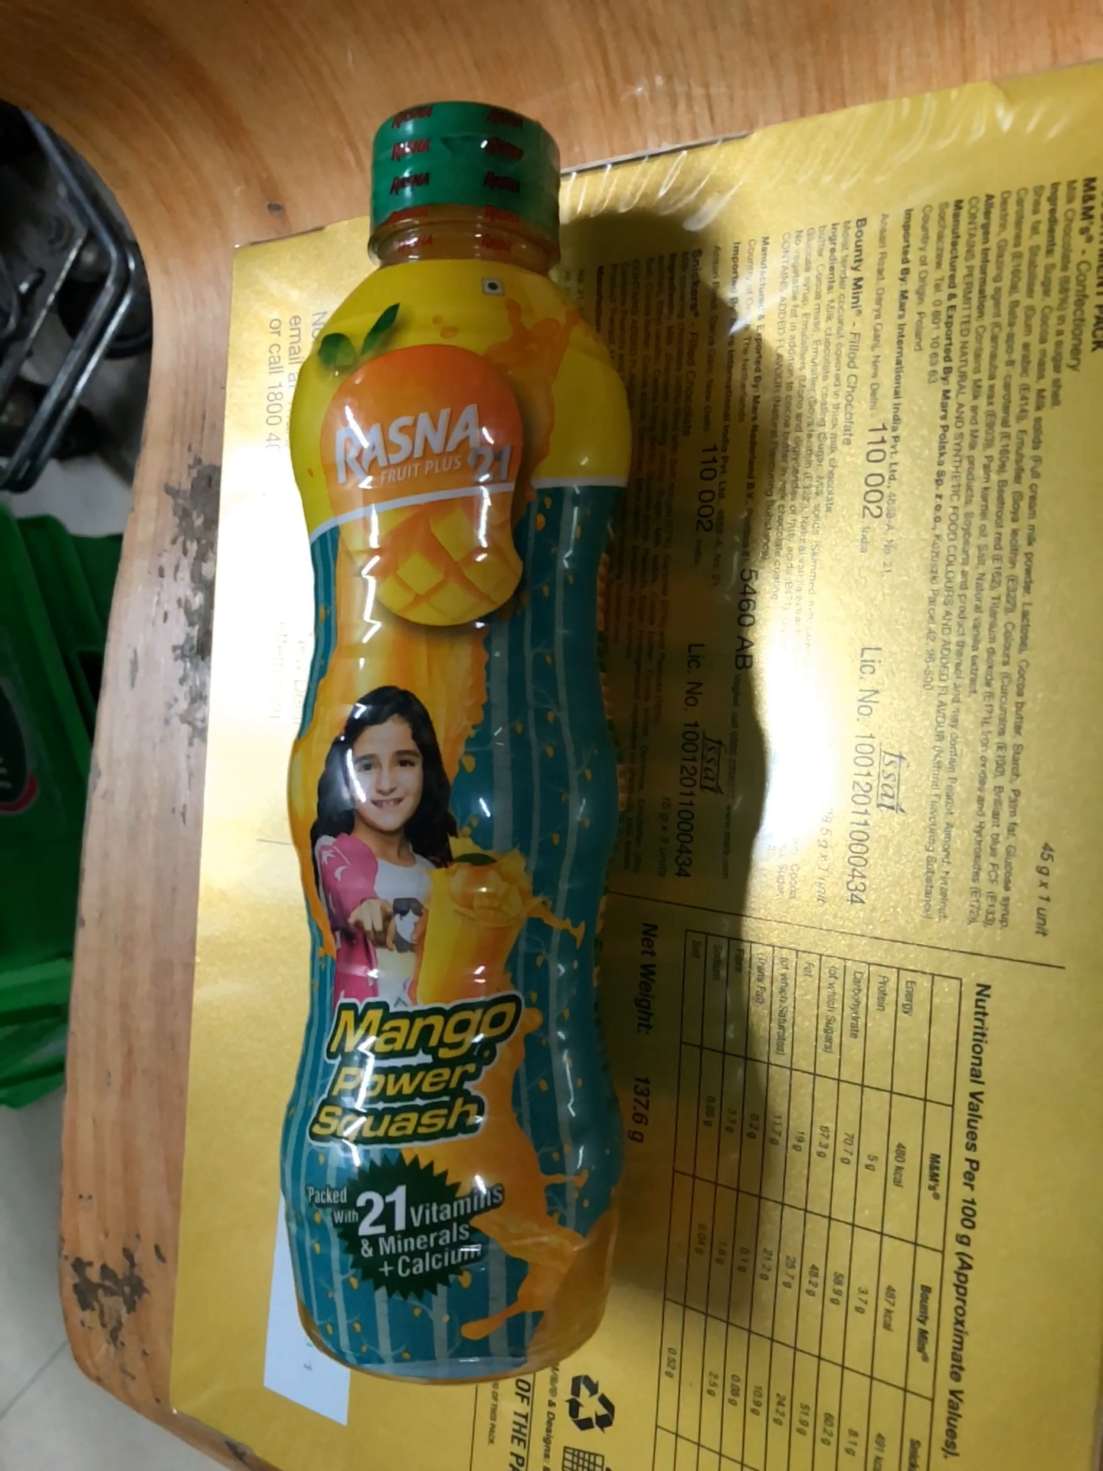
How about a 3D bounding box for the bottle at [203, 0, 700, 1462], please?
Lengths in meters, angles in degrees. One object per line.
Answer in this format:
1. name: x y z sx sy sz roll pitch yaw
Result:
1. bottle: -0.018 -0.001 0.251 0.080 0.050 0.260 3 92 13
